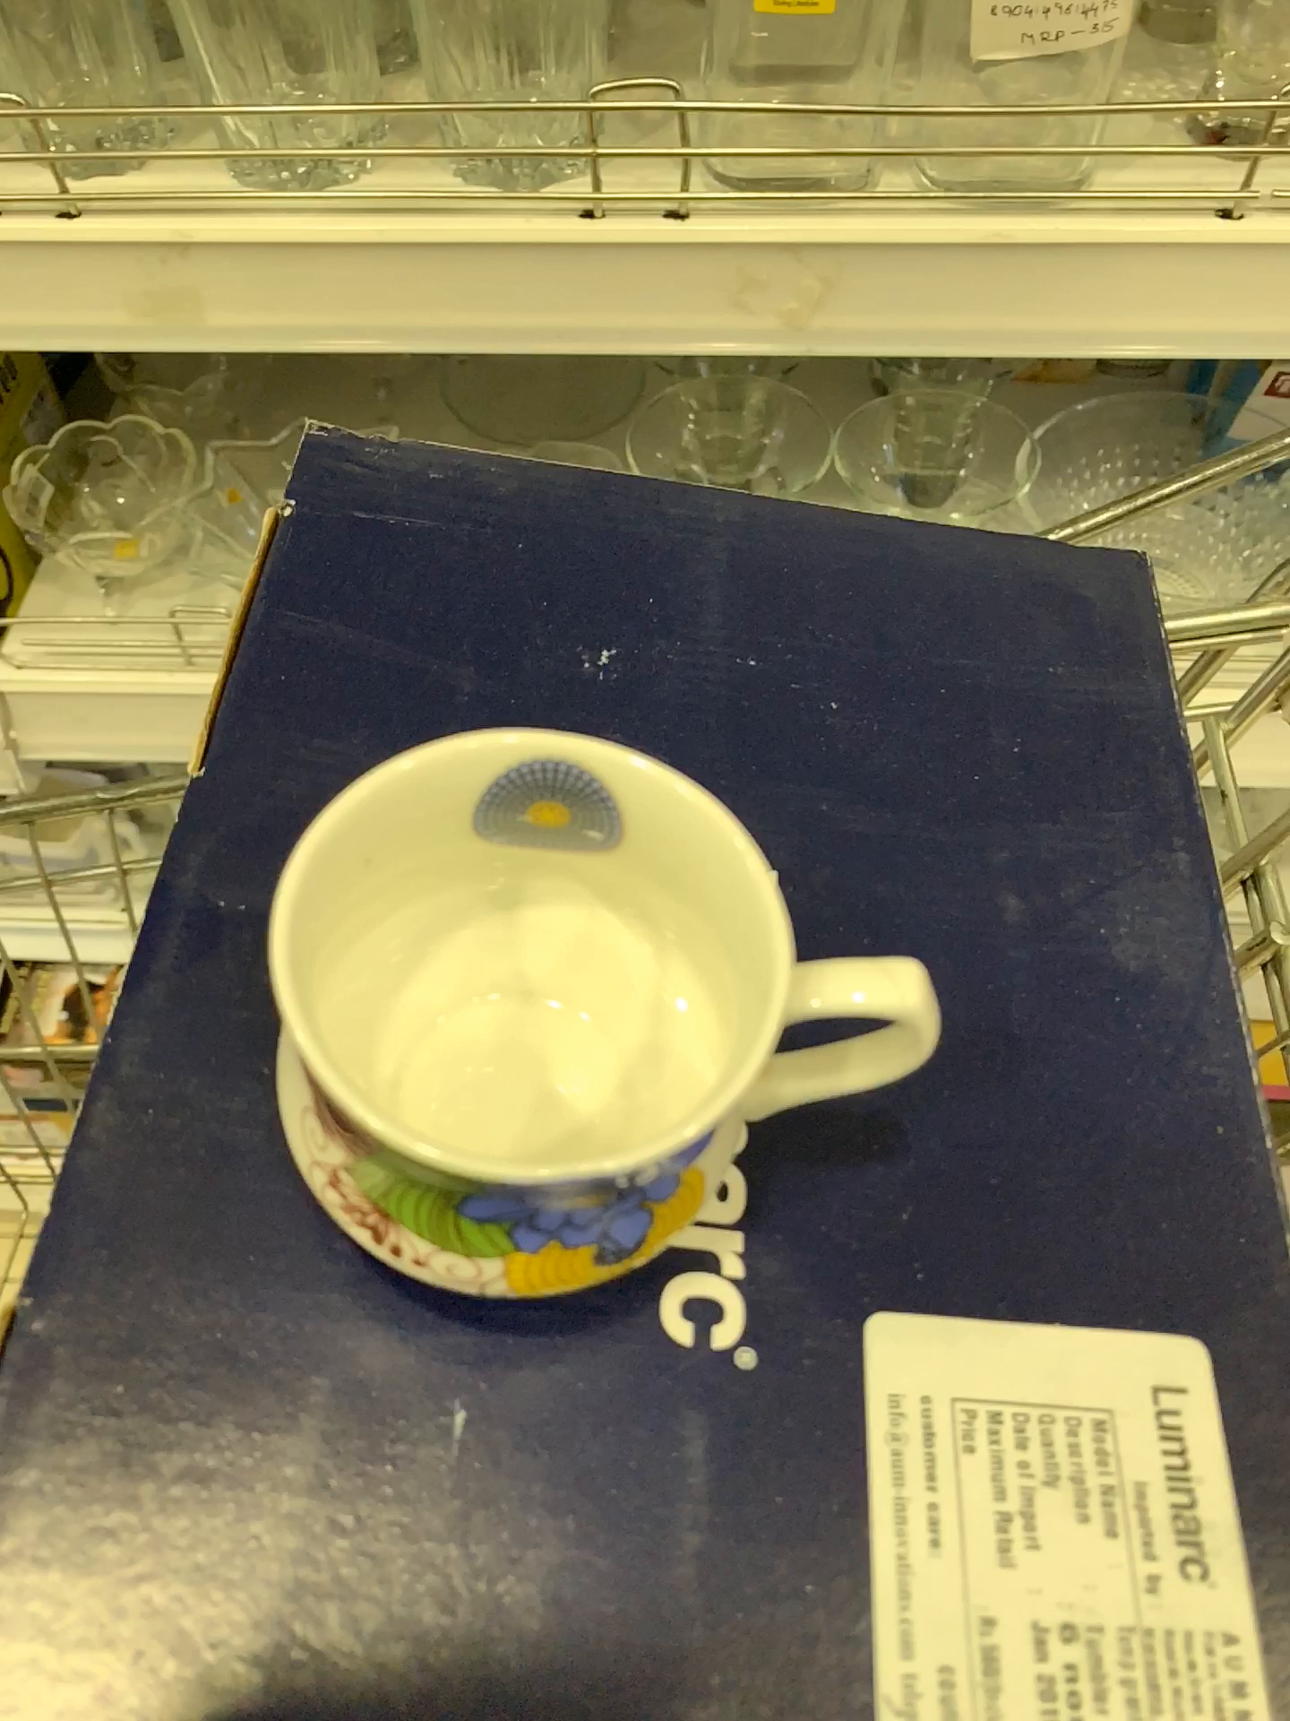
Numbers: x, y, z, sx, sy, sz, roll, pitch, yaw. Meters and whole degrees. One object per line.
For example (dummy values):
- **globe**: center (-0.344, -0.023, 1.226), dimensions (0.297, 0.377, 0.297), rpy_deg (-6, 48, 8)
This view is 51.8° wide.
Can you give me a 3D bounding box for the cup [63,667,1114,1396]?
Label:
- **cup**: center (-0.005, 0.021, 0.151), dimensions (0.090, 0.050, 0.060), rpy_deg (4, 55, -3)
